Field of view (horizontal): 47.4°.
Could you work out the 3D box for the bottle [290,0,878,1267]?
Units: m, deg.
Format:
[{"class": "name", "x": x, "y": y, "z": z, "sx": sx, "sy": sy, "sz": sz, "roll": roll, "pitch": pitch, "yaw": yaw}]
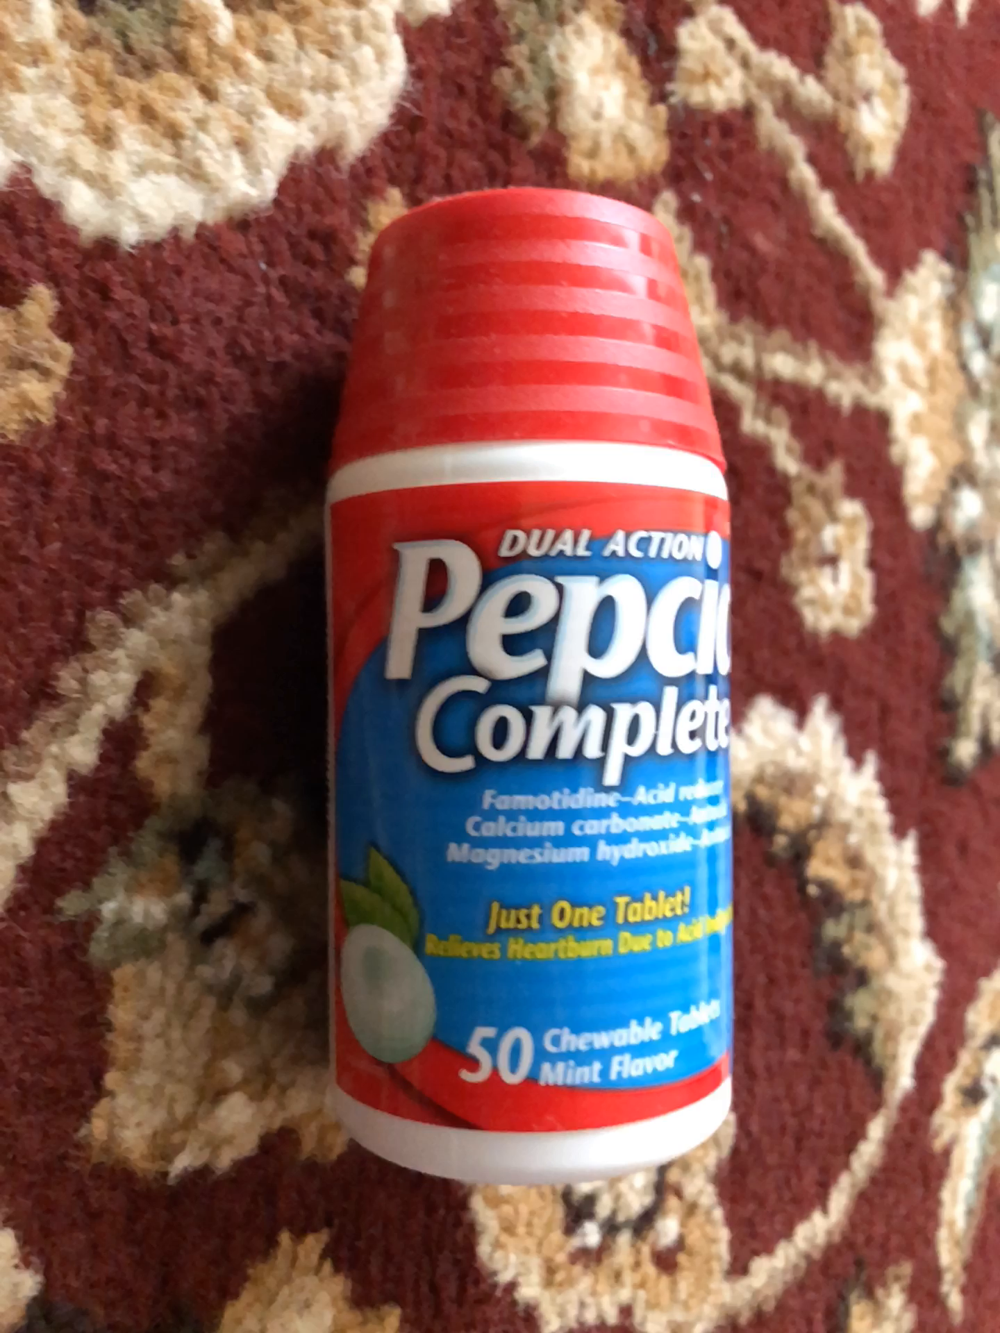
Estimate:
[{"class": "bottle", "x": 0.007, "y": -0.004, "z": 0.155, "sx": 0.060, "sy": 0.060, "sz": 0.130, "roll": 0, "pitch": 90, "yaw": -20}]
